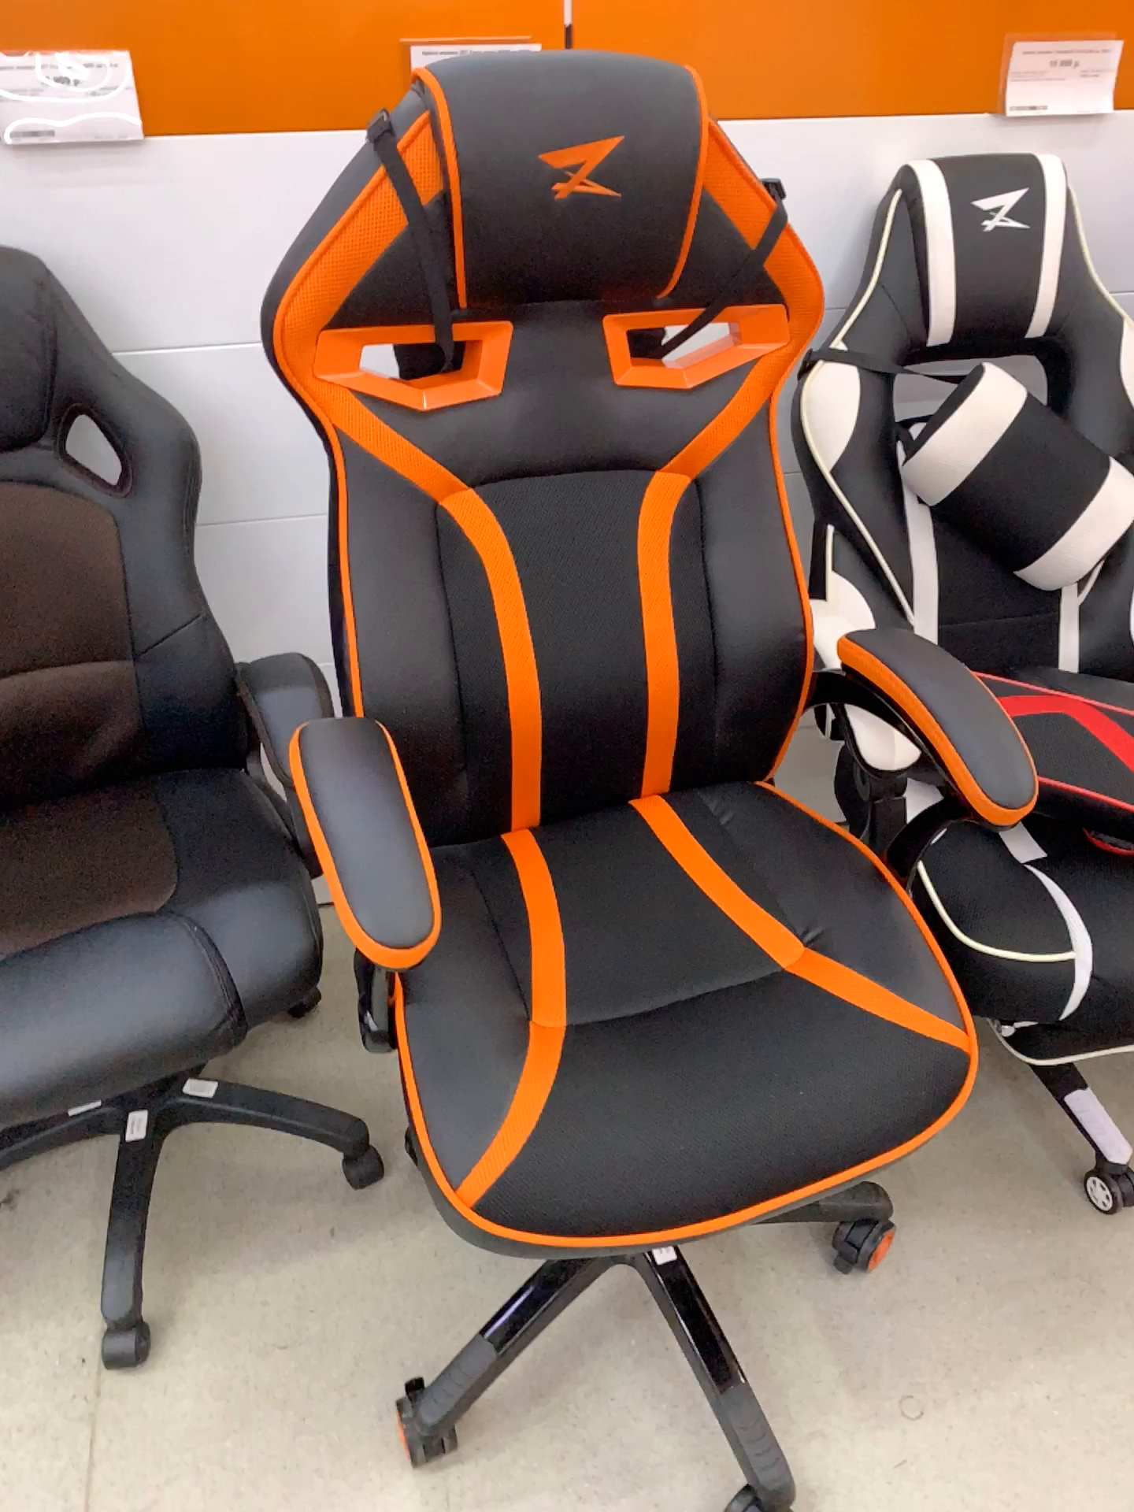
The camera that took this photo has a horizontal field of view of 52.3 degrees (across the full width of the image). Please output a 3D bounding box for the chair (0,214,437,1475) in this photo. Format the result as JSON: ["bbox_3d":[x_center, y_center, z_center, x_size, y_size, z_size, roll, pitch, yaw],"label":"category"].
[{"bbox_3d":[-0.703,0.111,1.501,0.821,1.322,0.724,-12,37,-15],"label":"chair"}]

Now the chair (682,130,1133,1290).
[{"bbox_3d":[0.741,-0.107,1.578,0.851,1.193,0.824,-12,37,-15],"label":"chair"}]

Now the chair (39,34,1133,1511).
[{"bbox_3d":[0.100,0.110,1.112,0.720,1.312,0.734,-8,36,-11],"label":"chair"}]
